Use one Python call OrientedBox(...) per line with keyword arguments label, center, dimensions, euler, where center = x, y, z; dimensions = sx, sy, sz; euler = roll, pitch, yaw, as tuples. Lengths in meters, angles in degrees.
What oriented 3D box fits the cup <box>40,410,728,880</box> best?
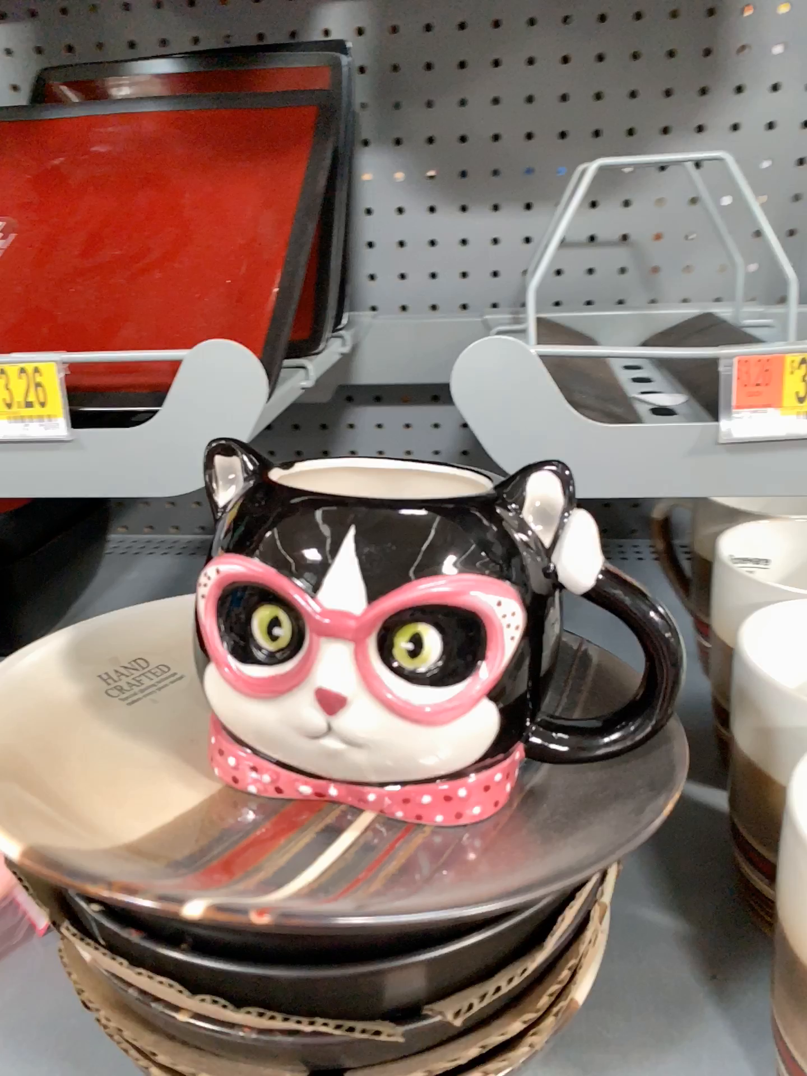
OrientedBox(label="cup", center=(0.002, 0.016, 0.225), dimensions=(0.144, 0.074, 0.096), euler=(4, 23, 14))
